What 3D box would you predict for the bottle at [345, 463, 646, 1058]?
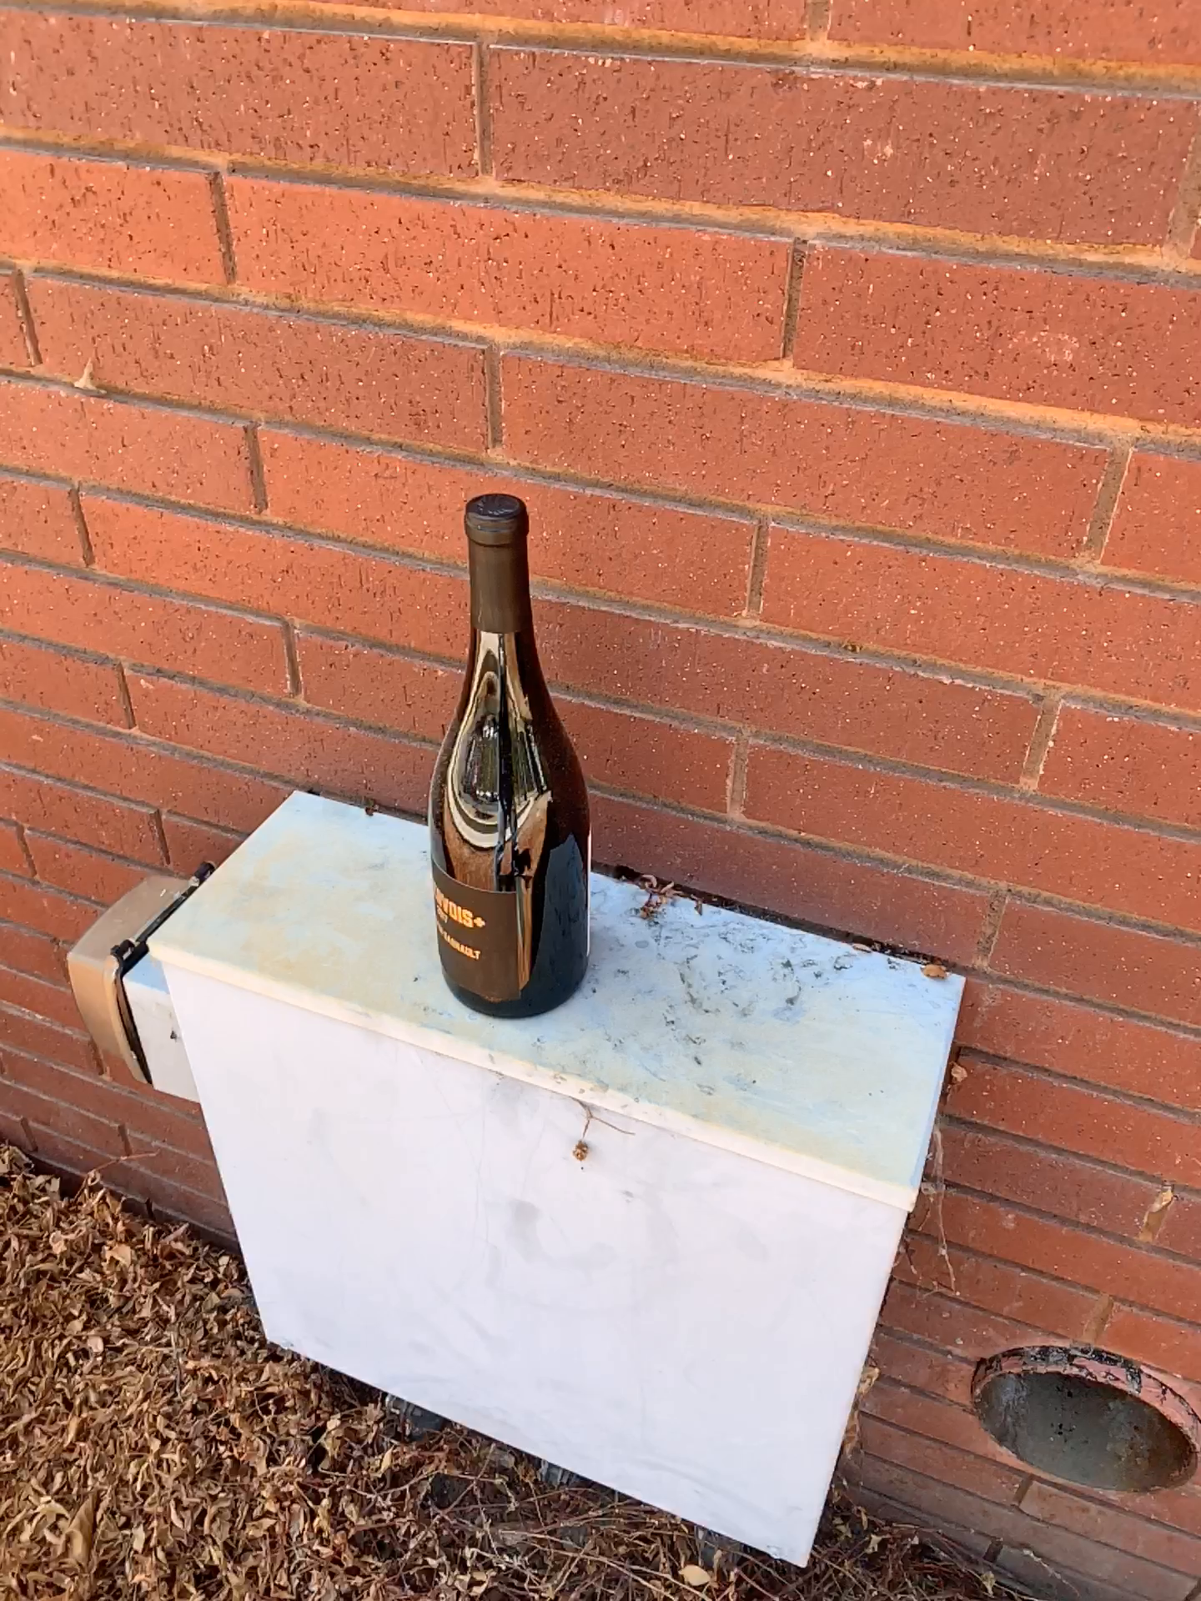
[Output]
[{"bbox_3d":[-0.050,-0.013,0.613,0.090,0.268,0.101,-23,44,-29],"label":"bottle"}]
